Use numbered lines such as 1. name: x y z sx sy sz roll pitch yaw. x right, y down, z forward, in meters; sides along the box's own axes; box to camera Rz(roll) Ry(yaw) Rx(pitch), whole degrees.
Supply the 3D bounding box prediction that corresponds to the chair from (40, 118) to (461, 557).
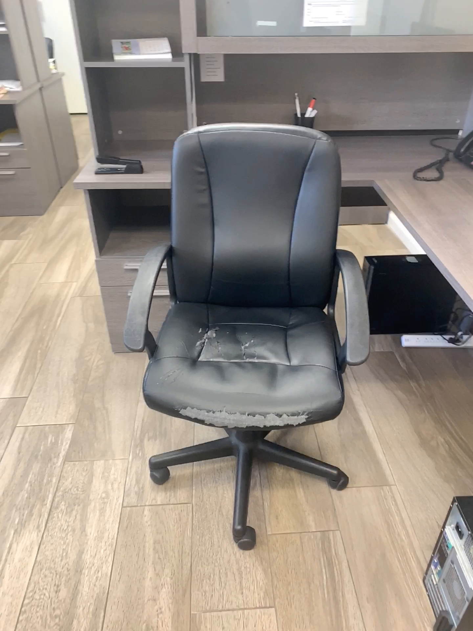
1. chair: 0.033 0.049 1.268 0.650 0.944 0.644 1 34 2
